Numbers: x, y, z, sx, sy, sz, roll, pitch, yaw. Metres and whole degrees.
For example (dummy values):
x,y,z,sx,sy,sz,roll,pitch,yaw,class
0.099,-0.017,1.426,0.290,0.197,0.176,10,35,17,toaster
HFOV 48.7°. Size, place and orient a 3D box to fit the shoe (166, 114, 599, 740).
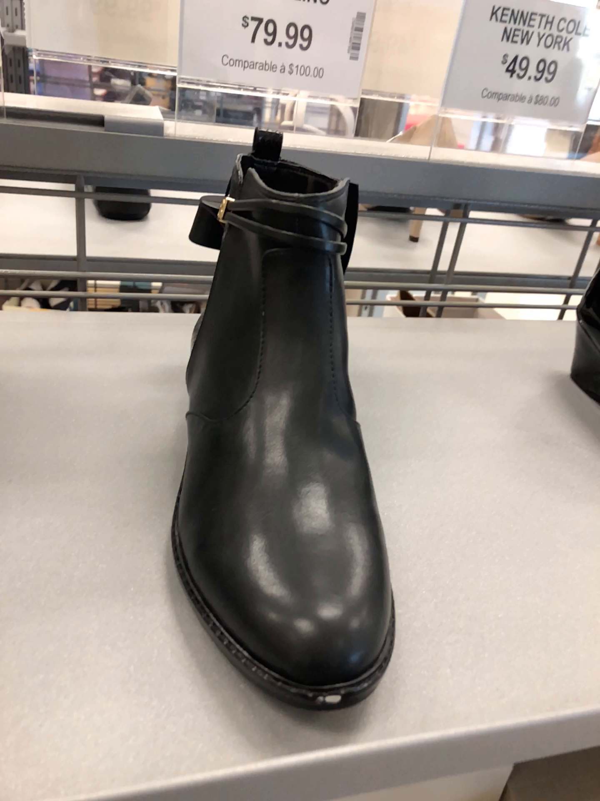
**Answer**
x,y,z,sx,sy,sz,roll,pitch,yaw,class
-0.005,-0.016,0.280,0.090,0.149,0.232,1,32,-14,shoe
